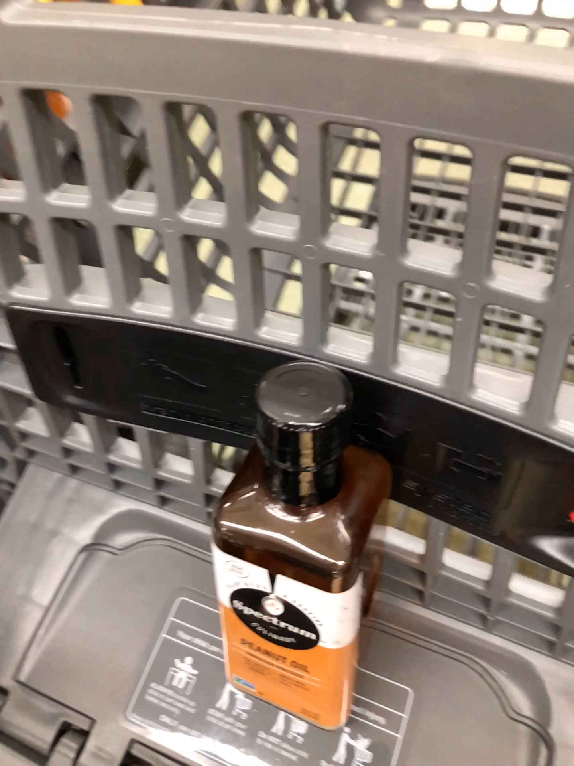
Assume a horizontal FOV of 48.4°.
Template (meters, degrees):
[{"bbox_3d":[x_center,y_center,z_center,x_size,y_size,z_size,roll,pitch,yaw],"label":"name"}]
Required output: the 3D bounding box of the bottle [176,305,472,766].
[{"bbox_3d":[0.016,0.073,0.260,0.070,0.190,0.070,-1,43,1],"label":"bottle"}]
